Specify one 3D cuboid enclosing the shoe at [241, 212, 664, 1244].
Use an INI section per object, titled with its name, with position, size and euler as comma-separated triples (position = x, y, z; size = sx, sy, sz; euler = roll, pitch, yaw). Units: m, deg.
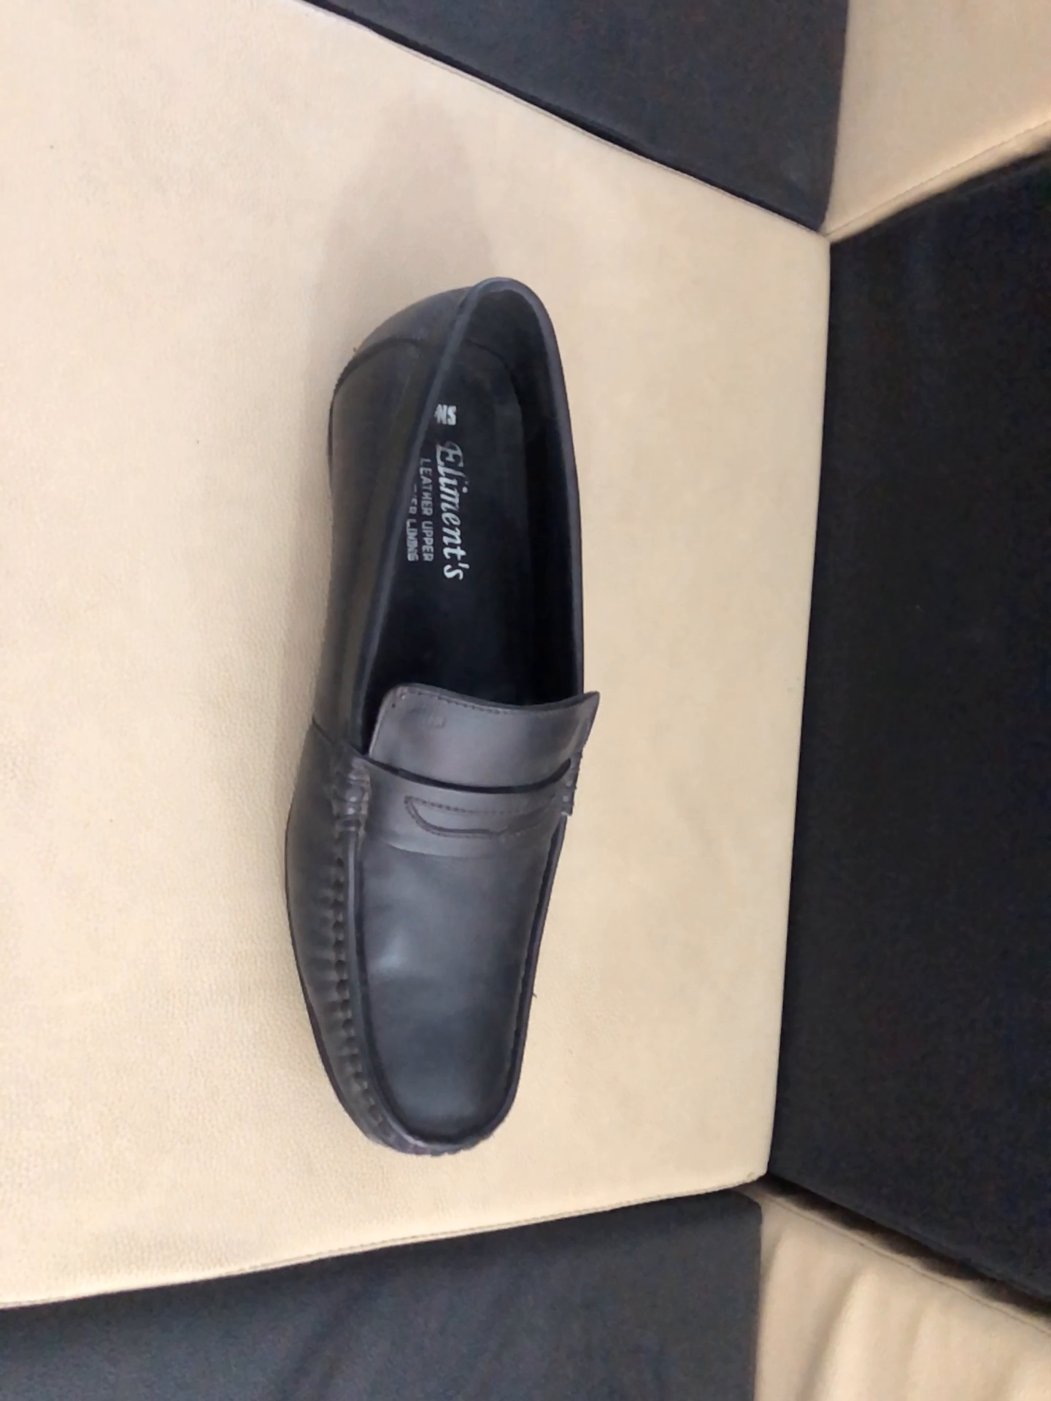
[shoe]
position = -0.024, 0.008, 0.386
size = 0.101, 0.080, 0.290
euler = 5, 85, -32
